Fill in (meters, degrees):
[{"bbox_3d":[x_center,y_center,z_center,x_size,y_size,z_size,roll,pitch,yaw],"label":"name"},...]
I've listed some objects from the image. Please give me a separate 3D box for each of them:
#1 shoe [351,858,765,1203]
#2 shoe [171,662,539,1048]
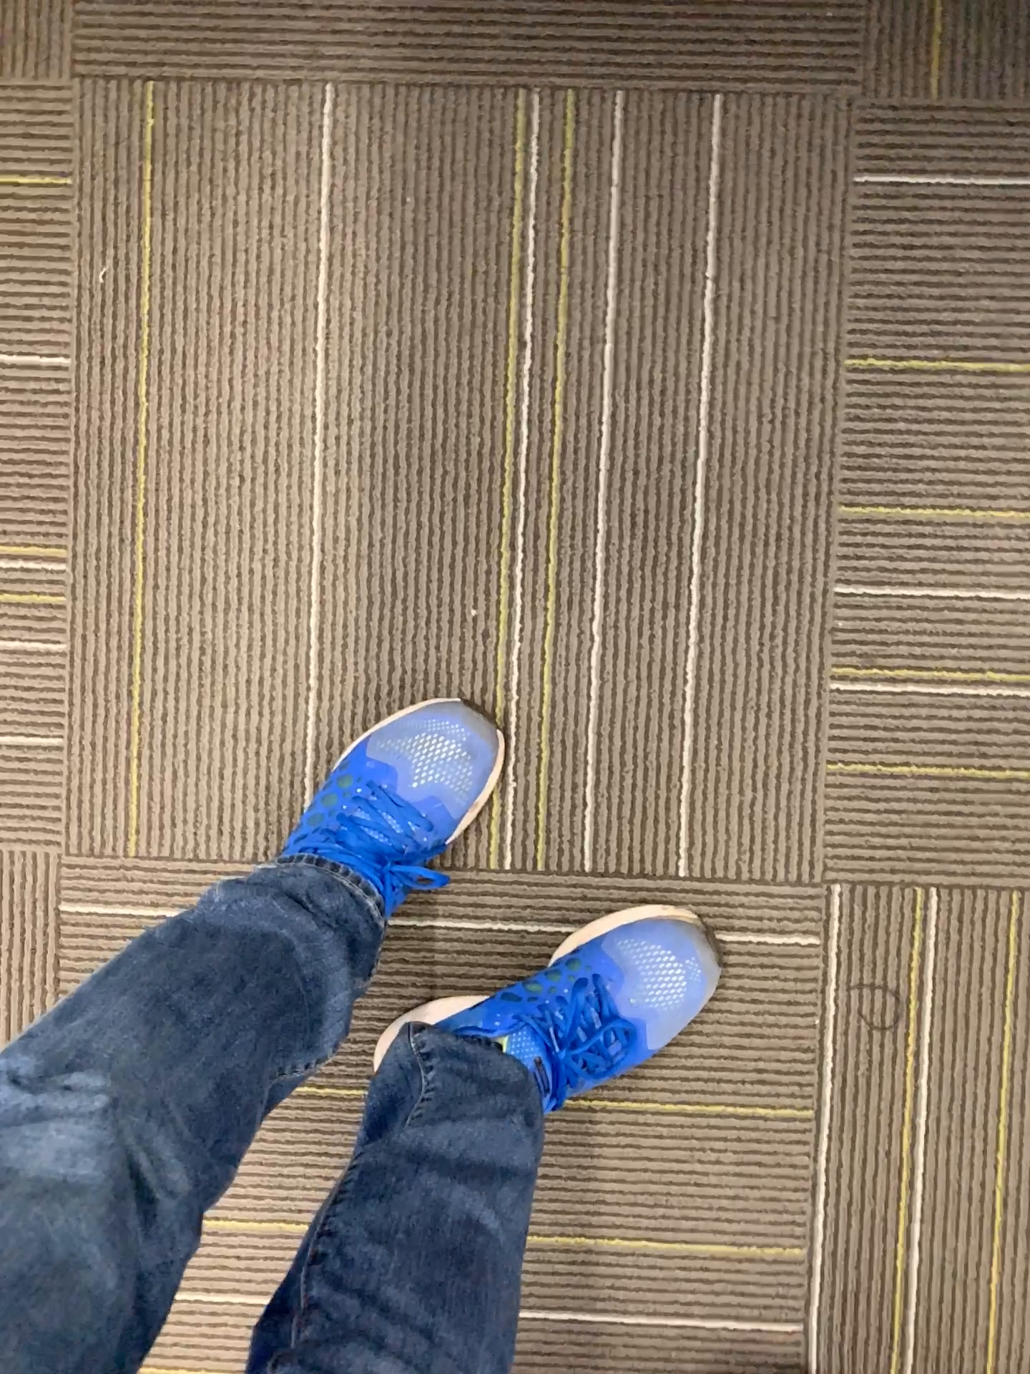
[{"bbox_3d":[0.034,0.276,0.862,0.299,0.077,0.128,-30,91,3],"label":"shoe"},{"bbox_3d":[-0.127,0.133,0.868,0.125,0.077,0.298,42,93,0],"label":"shoe"}]
